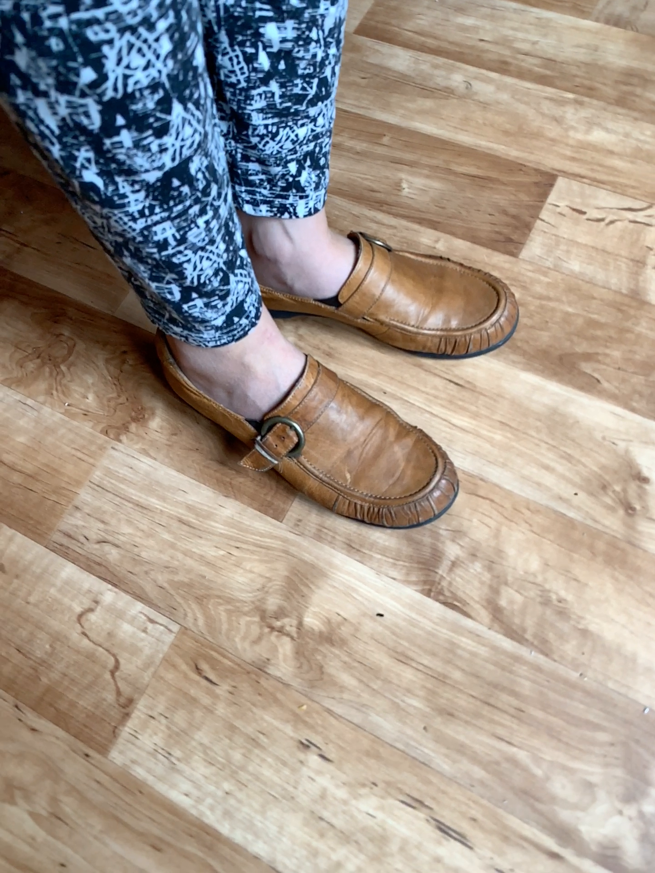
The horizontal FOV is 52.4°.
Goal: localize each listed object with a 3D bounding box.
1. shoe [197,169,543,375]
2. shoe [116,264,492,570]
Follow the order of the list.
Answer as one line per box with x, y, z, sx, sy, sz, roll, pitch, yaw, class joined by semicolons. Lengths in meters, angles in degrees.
0.028;-0.104;0.420;0.190;0.070;0.080;9;68;10;shoe
-0.014;-0.013;0.389;0.190;0.070;0.080;29;73;17;shoe
